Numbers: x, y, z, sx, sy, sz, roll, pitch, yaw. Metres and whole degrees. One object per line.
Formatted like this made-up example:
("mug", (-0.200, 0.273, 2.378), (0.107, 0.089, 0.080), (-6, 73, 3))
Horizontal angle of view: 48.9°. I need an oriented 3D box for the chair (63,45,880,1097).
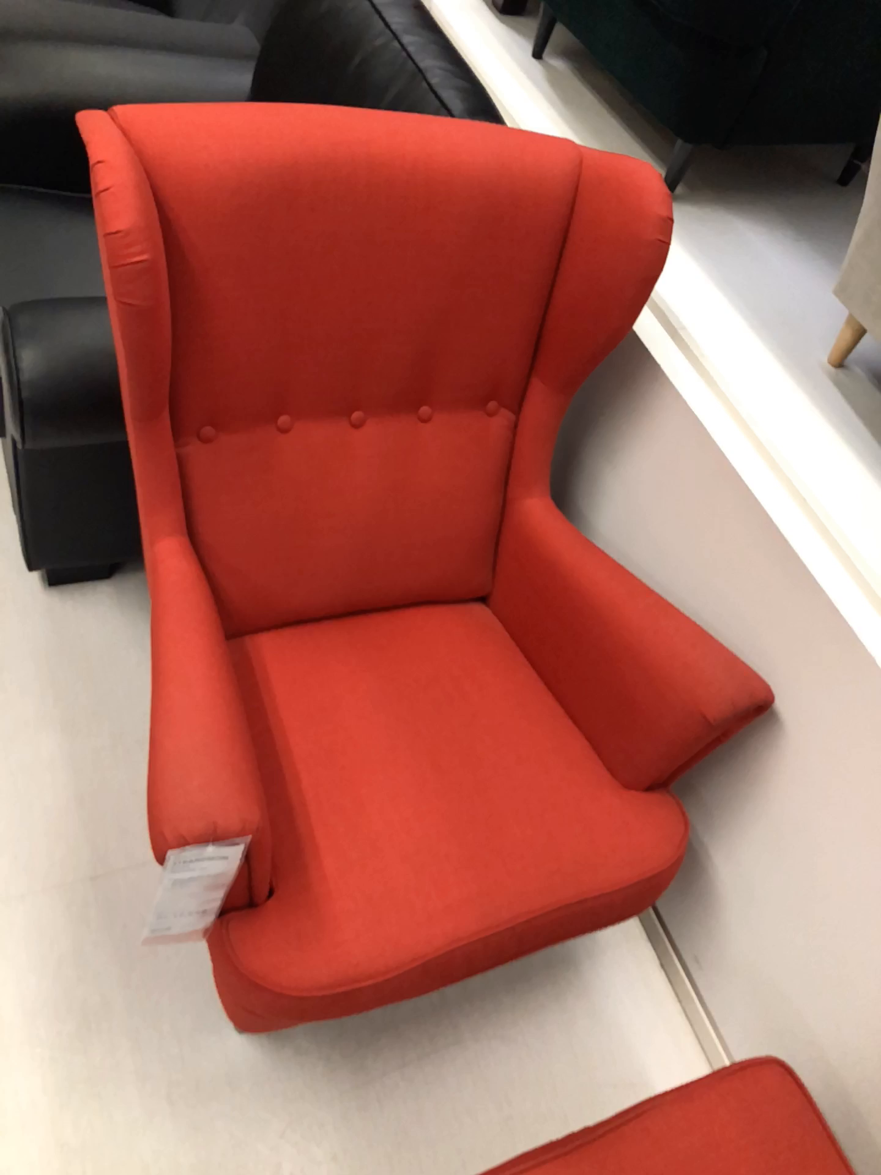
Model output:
("chair", (0.034, -0.006, 1.354), (0.902, 0.974, 0.844), (-9, 55, -25))
